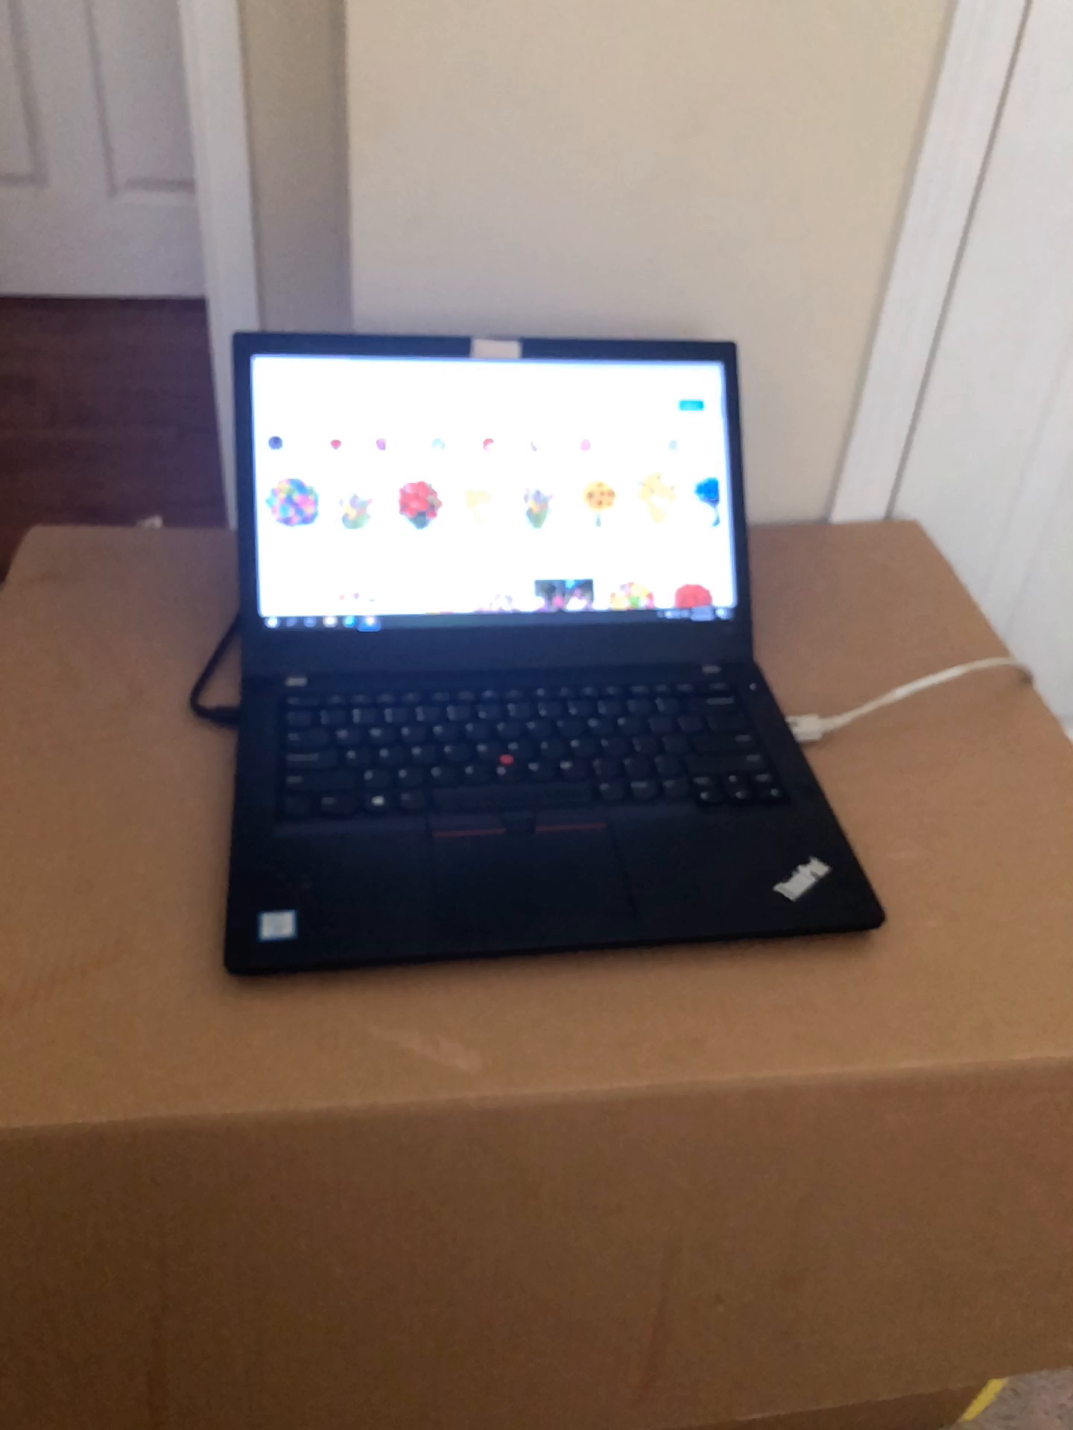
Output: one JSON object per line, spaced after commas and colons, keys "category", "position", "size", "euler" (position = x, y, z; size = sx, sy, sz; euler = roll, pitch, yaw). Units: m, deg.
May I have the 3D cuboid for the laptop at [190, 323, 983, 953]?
{"category": "laptop", "position": [-0.005, -0.071, 0.668], "size": [0.322, 0.158, 0.366], "euler": [-2, 38, -9]}
